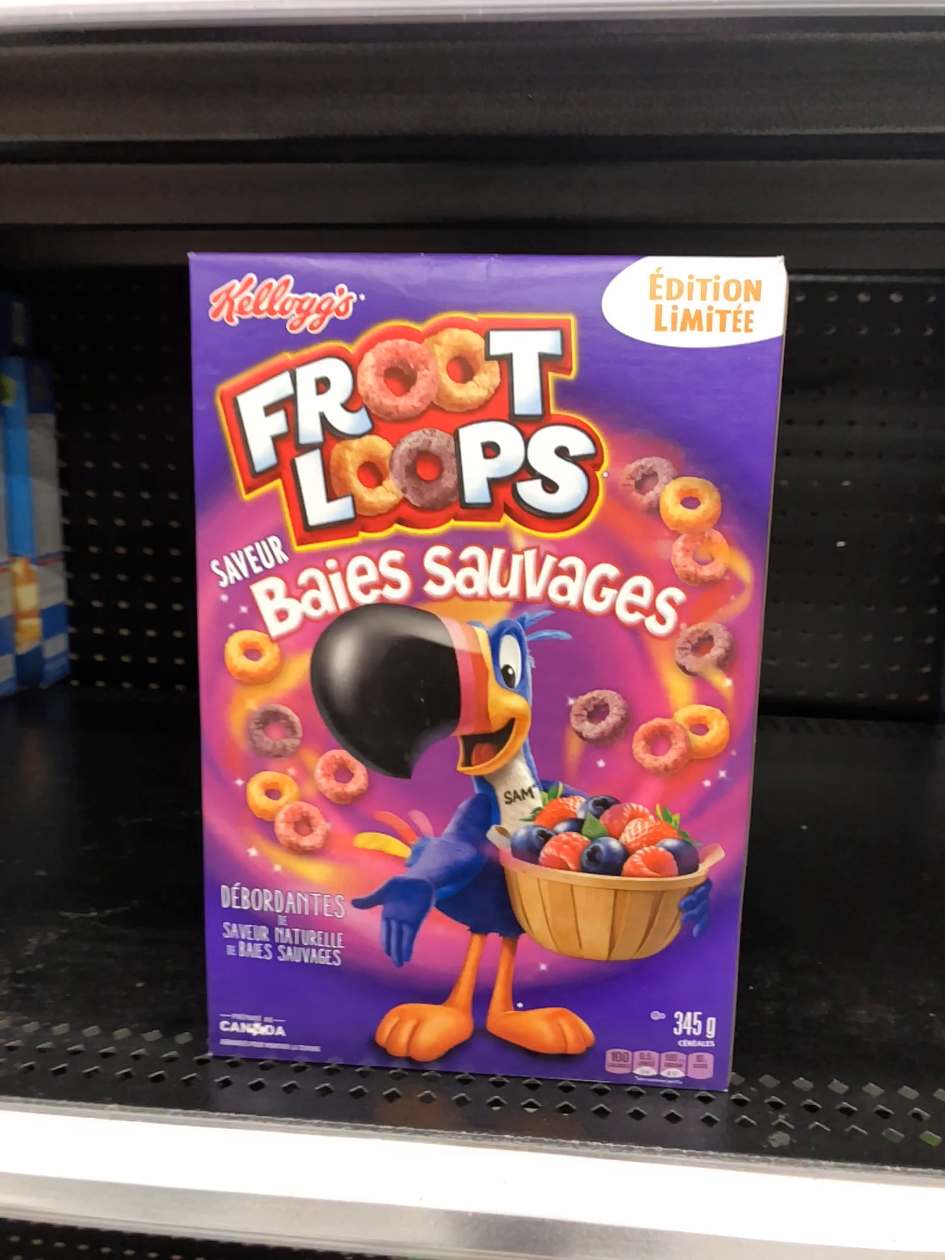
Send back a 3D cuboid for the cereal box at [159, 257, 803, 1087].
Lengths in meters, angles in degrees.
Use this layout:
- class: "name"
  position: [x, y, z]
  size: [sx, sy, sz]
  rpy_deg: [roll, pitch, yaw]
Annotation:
- class: "cereal box"
  position: [0.000, 0.016, 0.390]
  size: [0.210, 0.289, 0.050]
  rpy_deg: [2, 11, 6]
